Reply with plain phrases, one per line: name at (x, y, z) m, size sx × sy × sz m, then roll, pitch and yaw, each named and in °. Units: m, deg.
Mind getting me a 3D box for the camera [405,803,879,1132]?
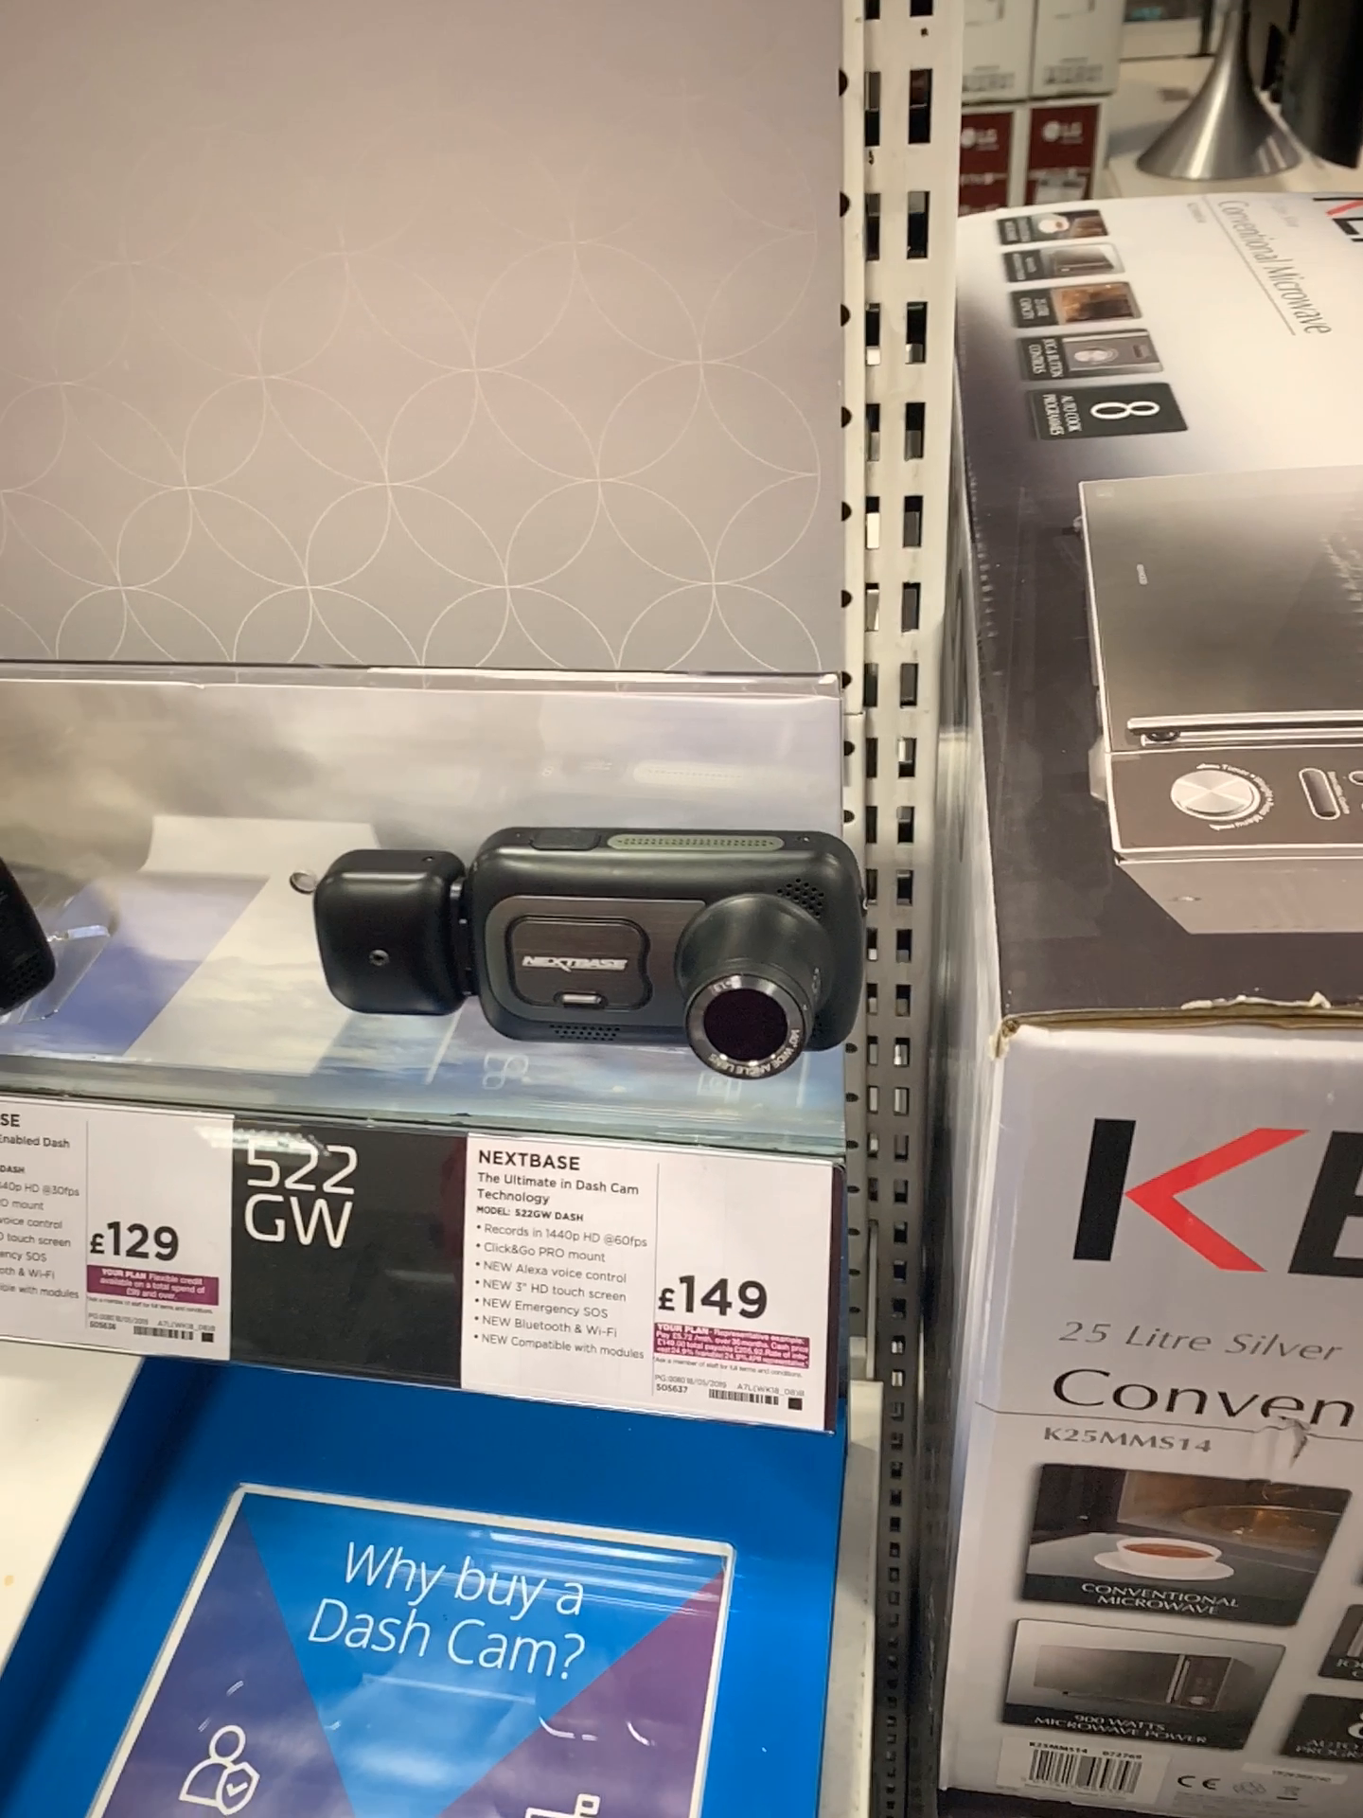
camera at (-0.004, 0.012, 0.330) m, size 0.100 × 0.050 × 0.061 m, roll 0°, pitch 33°, yaw 8°
